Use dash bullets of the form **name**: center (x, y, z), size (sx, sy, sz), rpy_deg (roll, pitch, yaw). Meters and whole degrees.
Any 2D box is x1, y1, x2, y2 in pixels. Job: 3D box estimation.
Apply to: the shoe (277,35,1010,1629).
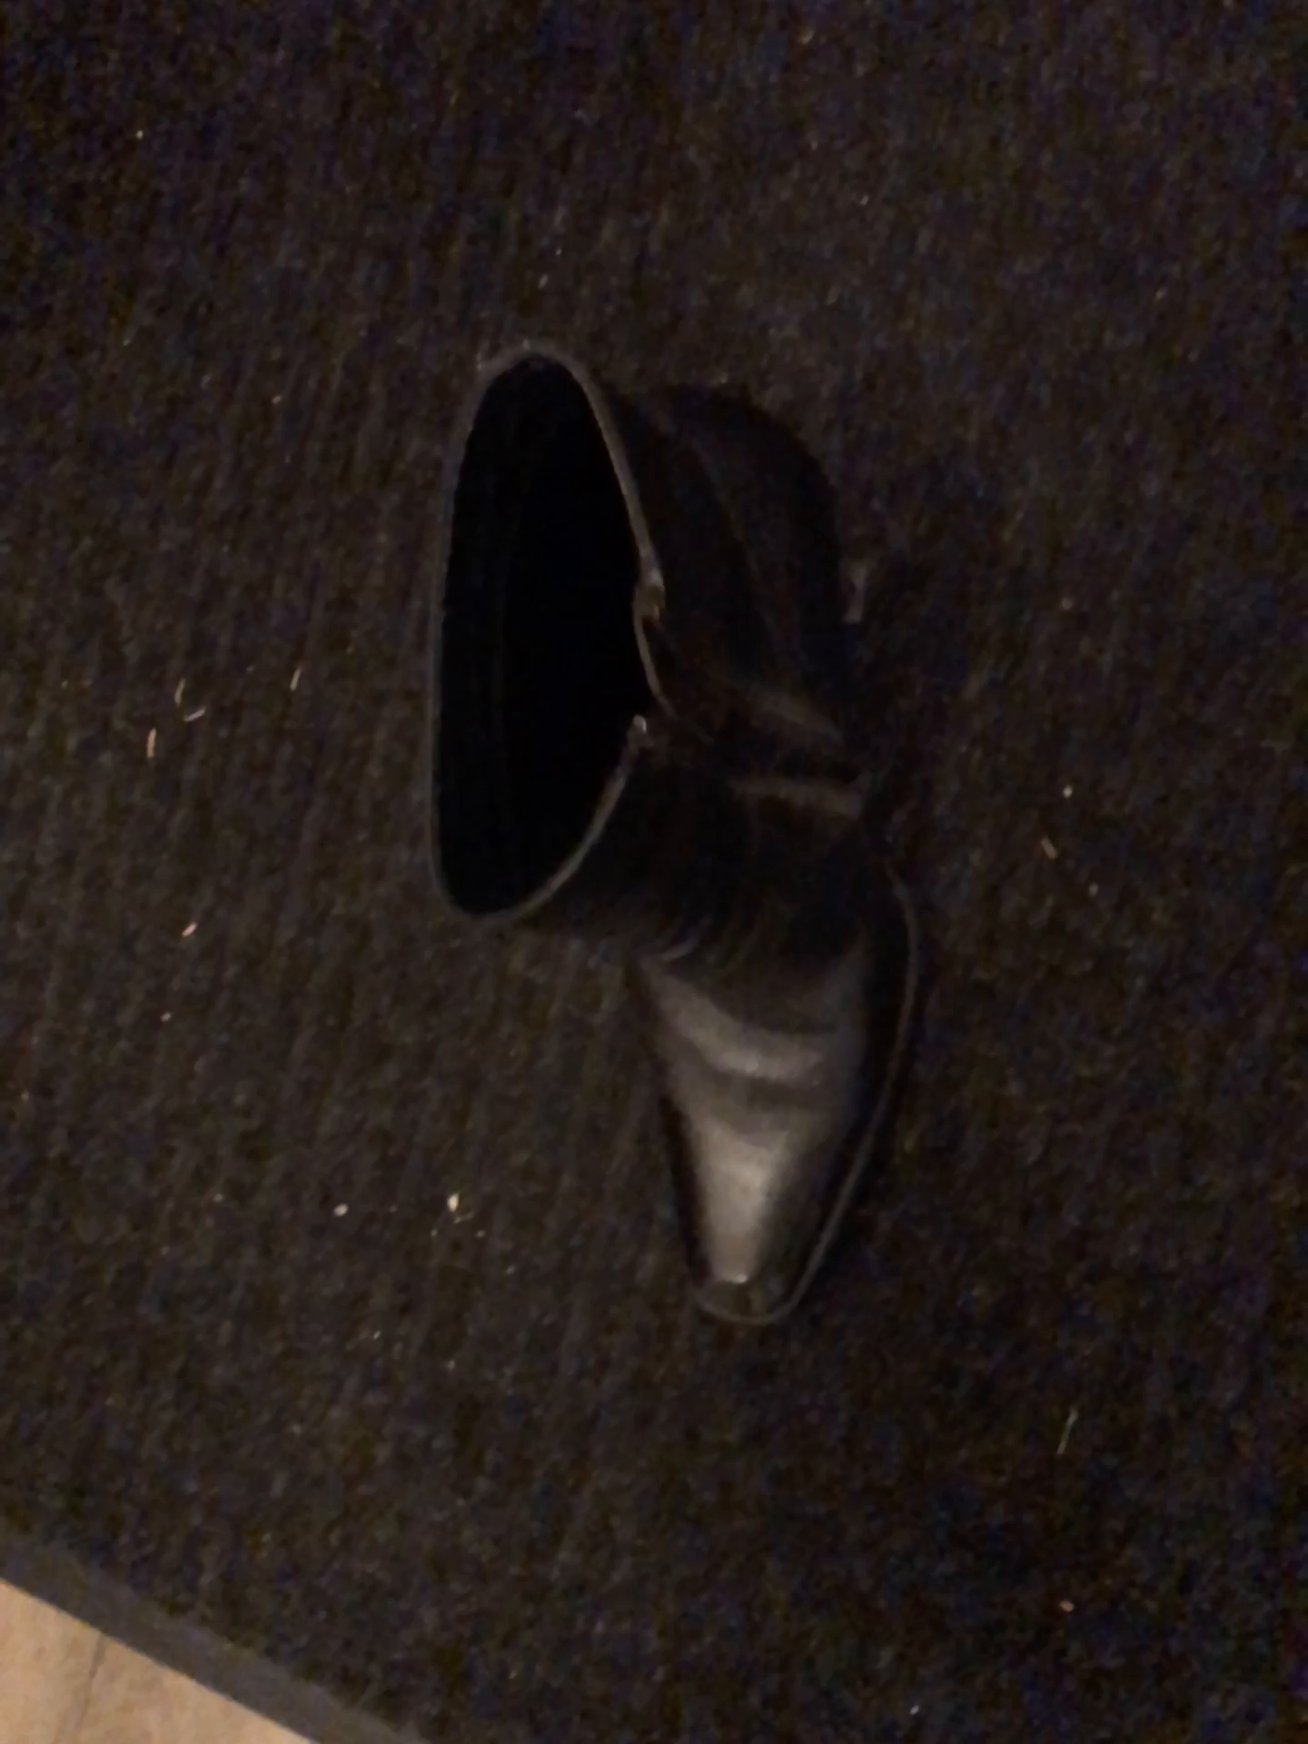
- **shoe**: center (0.020, -0.006, 0.332), size (0.090, 0.210, 0.240), rpy_deg (4, 89, 17)
